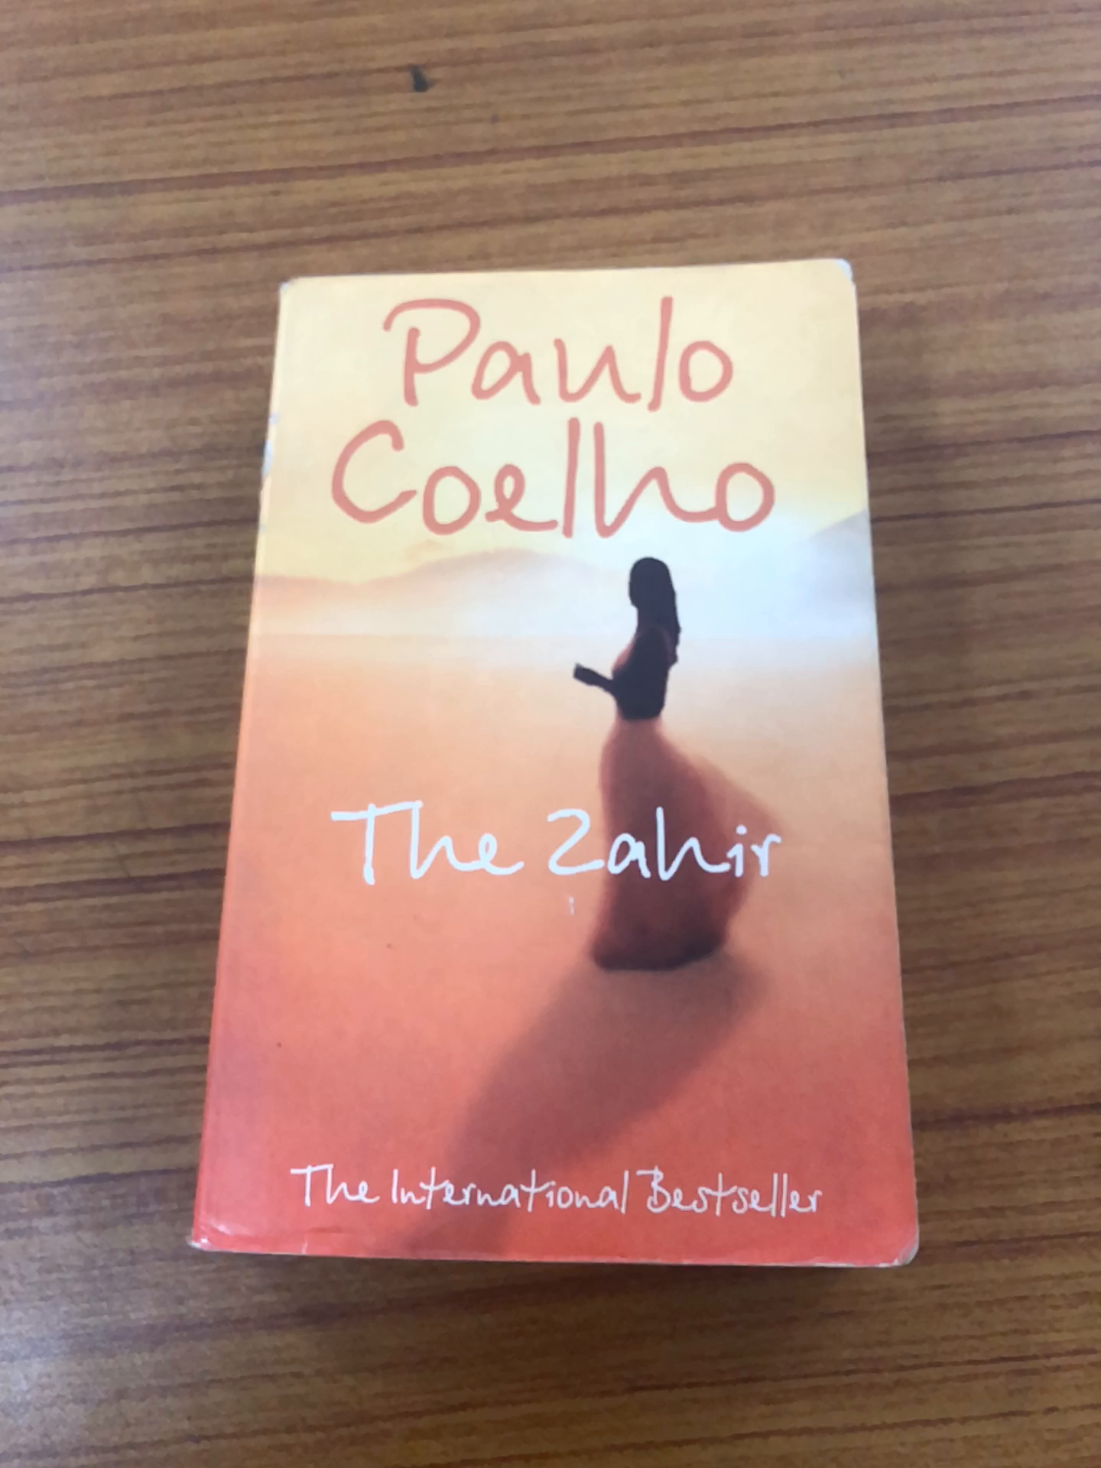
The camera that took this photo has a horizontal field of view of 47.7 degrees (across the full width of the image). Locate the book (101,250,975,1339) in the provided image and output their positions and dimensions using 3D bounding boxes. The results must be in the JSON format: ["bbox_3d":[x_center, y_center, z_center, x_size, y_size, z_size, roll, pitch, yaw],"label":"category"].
[{"bbox_3d":[-0.002,0.004,0.219,0.120,0.040,0.180,0,71,1],"label":"book"}]
